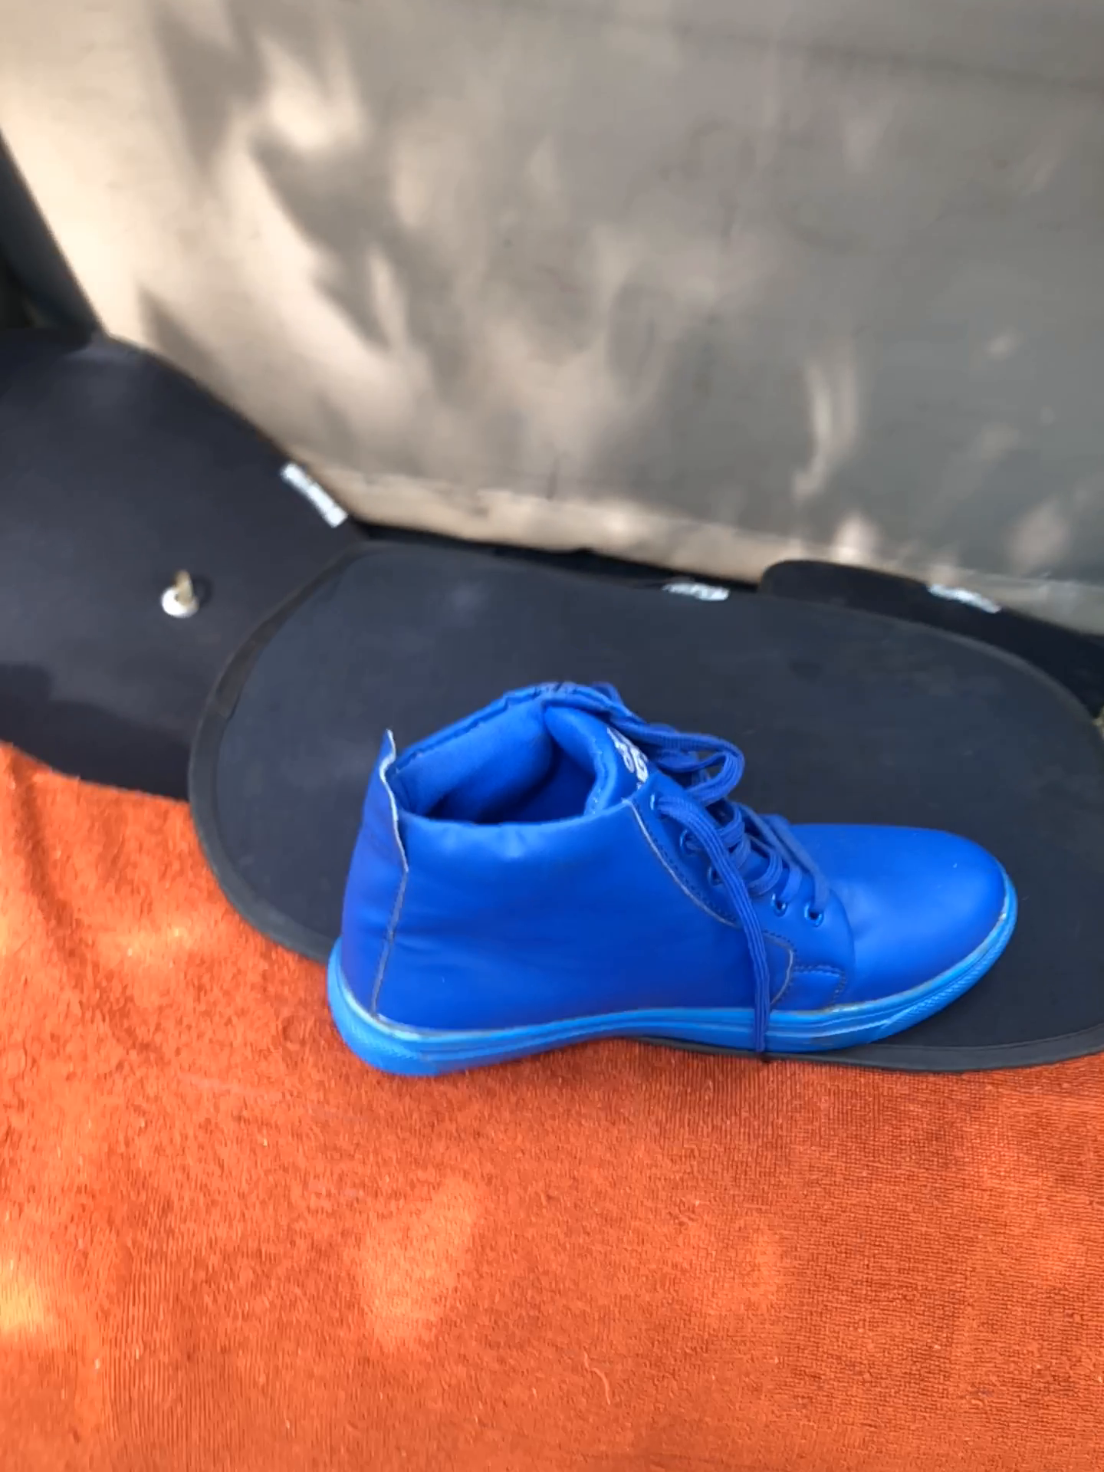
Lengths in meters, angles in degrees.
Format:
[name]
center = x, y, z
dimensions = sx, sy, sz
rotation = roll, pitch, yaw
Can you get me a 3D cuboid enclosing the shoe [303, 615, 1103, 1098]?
[shoe]
center = 0.056, 0.042, 0.489
dimensions = 0.300, 0.119, 0.131
rotation = -2, 44, -10
